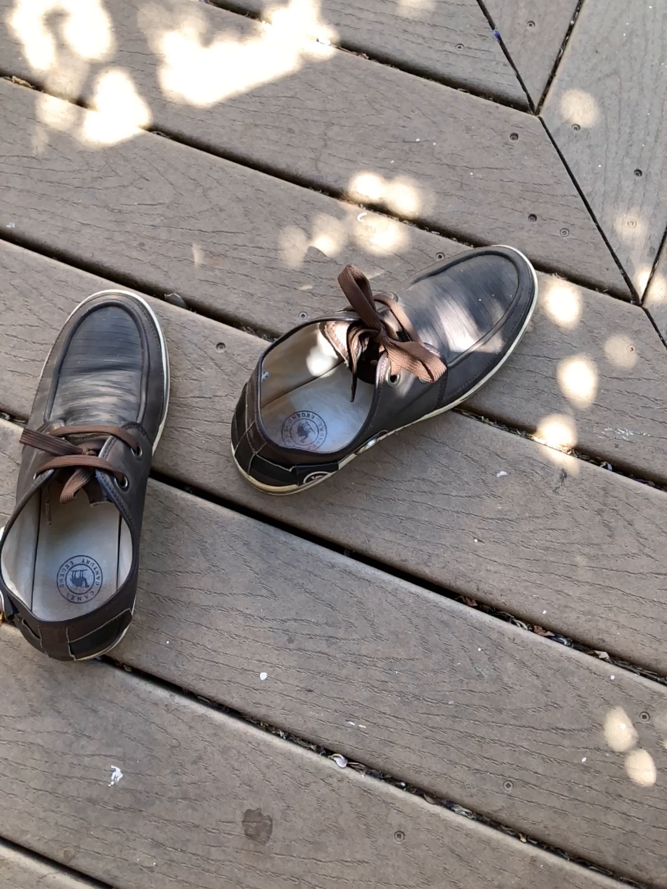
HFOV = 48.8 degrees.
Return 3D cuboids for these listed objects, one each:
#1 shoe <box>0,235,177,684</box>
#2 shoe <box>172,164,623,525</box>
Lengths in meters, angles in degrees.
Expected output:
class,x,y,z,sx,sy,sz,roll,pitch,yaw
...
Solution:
class,x,y,z,sx,sy,sz,roll,pitch,yaw
shoe,-0.195,0.012,0.547,0.110,0.116,0.302,2,77,0
shoe,0.047,-0.071,0.568,0.303,0.116,0.110,-31,80,-7
